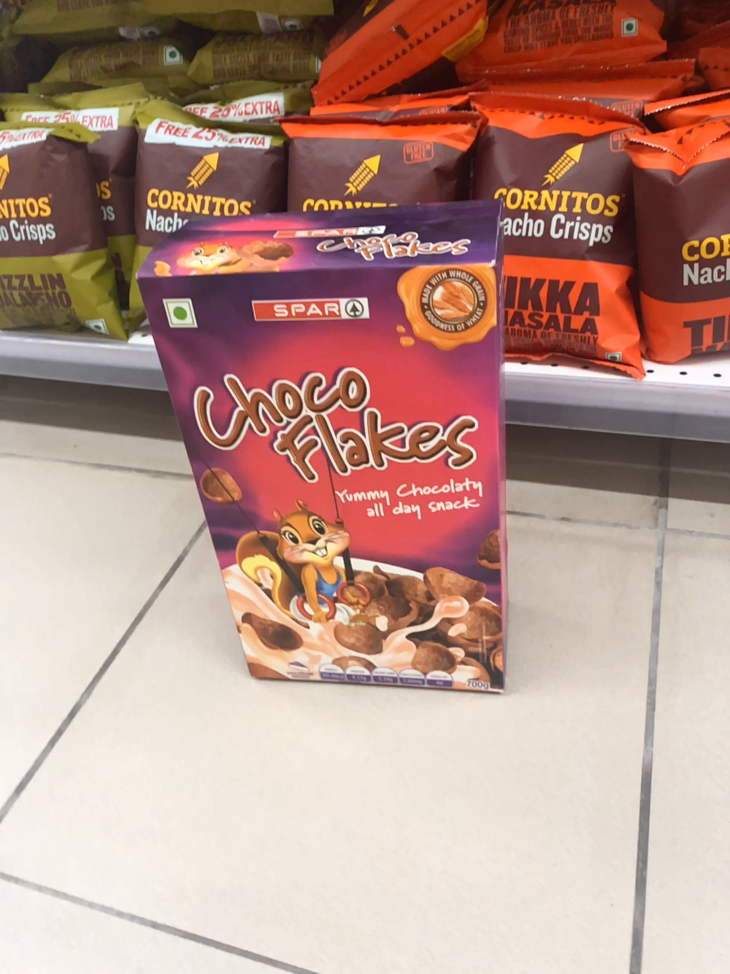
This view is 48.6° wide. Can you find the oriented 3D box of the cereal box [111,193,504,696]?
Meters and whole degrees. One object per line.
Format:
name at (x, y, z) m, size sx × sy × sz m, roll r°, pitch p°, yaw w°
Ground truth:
cereal box at (-0.010, -0.007, 0.548) m, size 0.200 × 0.339 × 0.090 m, roll 0°, pitch 39°, yaw 11°
